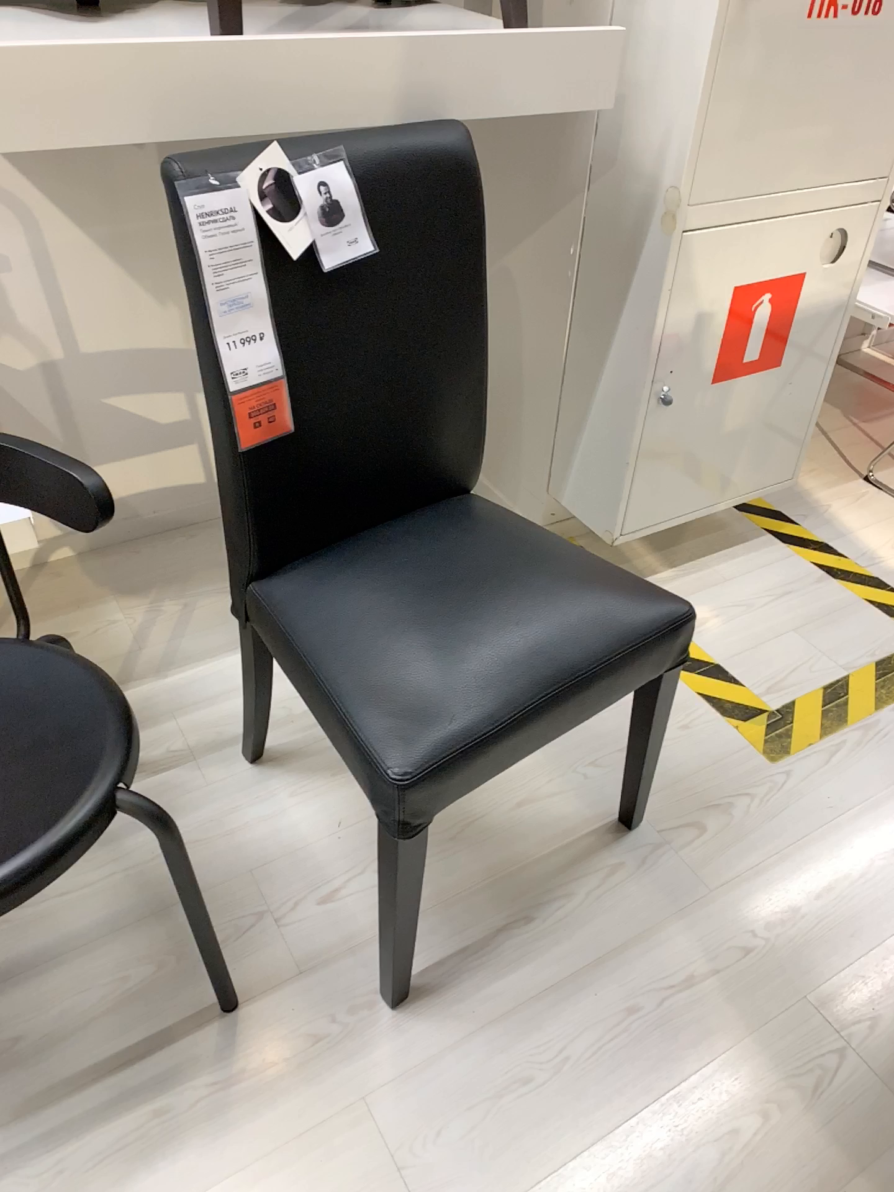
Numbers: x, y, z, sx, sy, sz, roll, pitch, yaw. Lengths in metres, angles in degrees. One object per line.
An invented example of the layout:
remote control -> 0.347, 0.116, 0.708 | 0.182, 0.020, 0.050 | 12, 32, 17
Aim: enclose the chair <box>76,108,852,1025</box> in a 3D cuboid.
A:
chair -> -0.015, -0.057, 1.275 | 0.582, 0.974, 0.602 | -26, 47, -32
